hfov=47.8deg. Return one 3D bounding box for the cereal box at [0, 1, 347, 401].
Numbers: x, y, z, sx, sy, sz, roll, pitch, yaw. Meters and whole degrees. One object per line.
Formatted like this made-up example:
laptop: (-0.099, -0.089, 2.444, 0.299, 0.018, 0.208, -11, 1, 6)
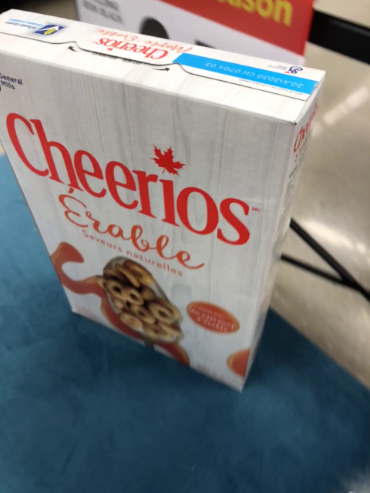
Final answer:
cereal box: (-0.029, -0.010, 0.311, 0.210, 0.269, 0.060, 20, 52, 18)
